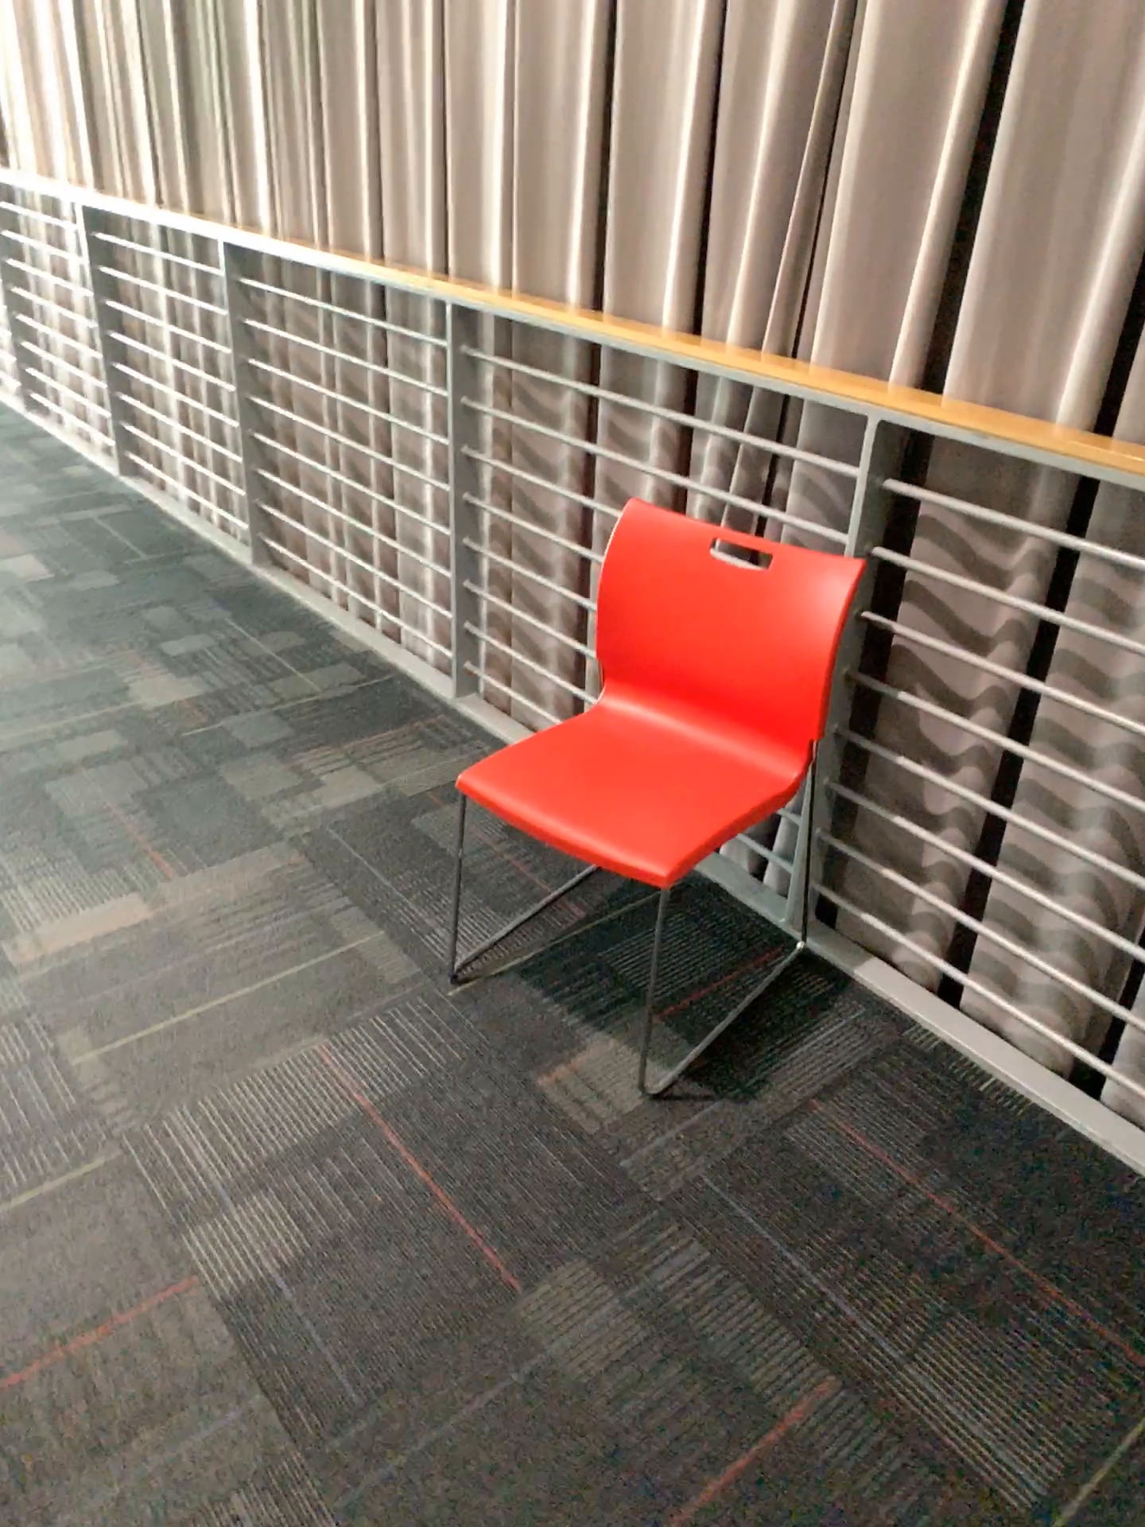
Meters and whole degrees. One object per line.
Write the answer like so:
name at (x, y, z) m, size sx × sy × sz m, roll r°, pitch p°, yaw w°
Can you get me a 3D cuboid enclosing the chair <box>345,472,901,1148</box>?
chair at (0.088, 0.036, 2.116) m, size 0.632 × 0.855 × 0.662 m, roll 24°, pitch 39°, yaw 33°
